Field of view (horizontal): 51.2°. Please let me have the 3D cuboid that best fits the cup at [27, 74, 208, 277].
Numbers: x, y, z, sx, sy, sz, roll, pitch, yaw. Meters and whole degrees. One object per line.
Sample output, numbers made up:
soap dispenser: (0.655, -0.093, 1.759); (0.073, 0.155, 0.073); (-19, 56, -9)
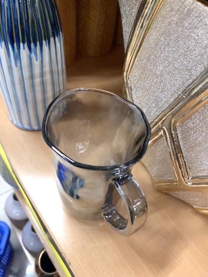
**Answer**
cup: (-0.001, 0.031, 0.182); (0.070, 0.110, 0.110); (-24, 58, -25)
